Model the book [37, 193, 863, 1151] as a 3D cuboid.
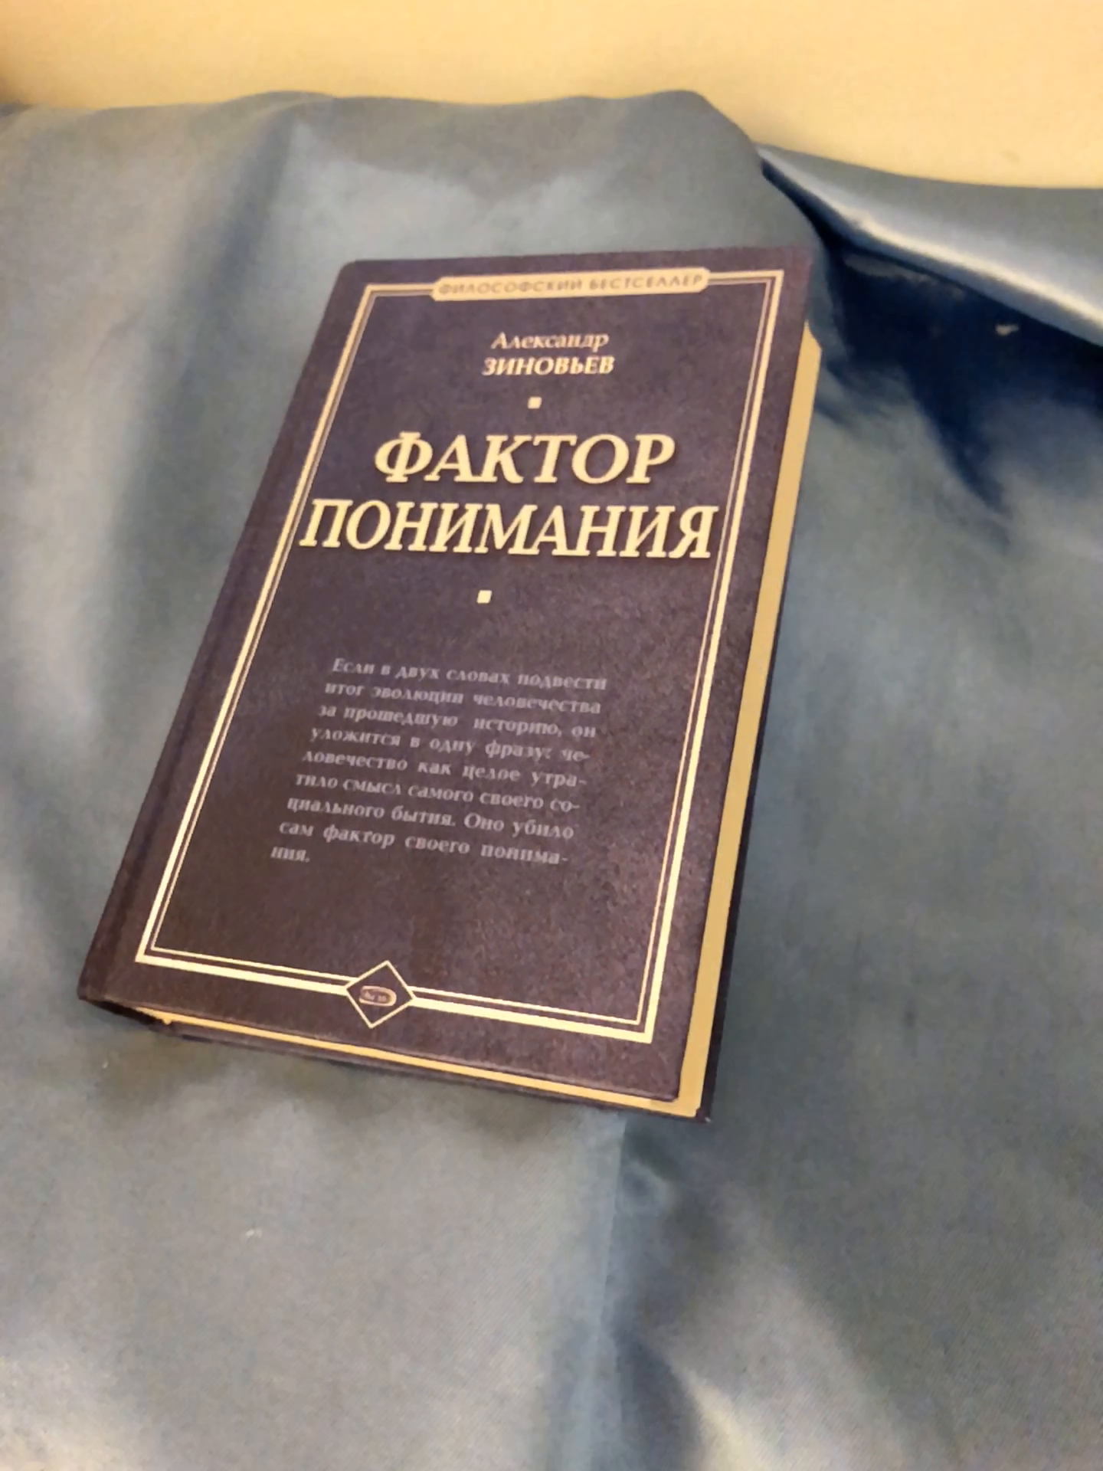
[{"bbox_3d":[-0.011,-0.031,0.292,0.140,0.040,0.221,4,64,20],"label":"book"}]
